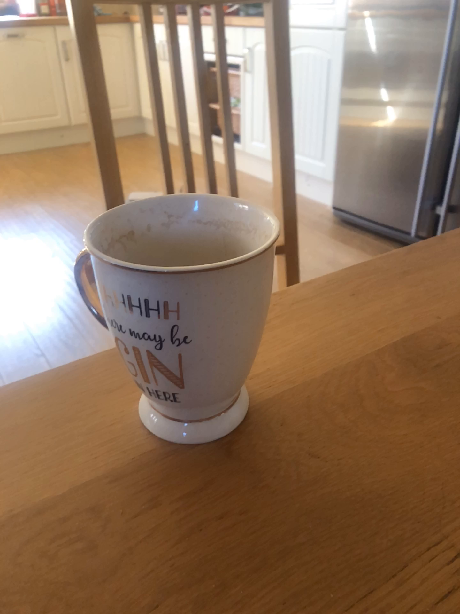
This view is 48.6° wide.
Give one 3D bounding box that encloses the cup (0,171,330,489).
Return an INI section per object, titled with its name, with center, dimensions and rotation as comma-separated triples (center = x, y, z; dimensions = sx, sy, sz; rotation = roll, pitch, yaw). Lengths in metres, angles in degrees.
[cup]
center = -0.031, 0.000, 0.293
dimensions = 0.135, 0.111, 0.109
rotation = 17, 35, 28
